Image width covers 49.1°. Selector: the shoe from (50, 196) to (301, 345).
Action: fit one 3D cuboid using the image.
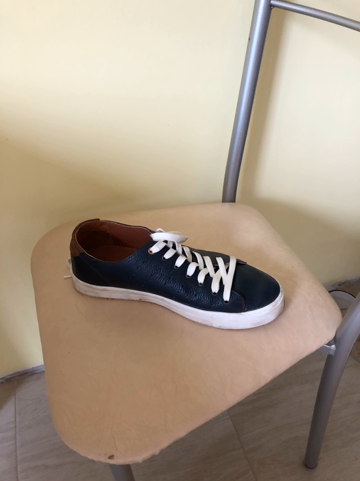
[{"bbox_3d":[-0.002,0.032,0.515,0.290,0.089,0.111,10,44,13],"label":"shoe"}]
